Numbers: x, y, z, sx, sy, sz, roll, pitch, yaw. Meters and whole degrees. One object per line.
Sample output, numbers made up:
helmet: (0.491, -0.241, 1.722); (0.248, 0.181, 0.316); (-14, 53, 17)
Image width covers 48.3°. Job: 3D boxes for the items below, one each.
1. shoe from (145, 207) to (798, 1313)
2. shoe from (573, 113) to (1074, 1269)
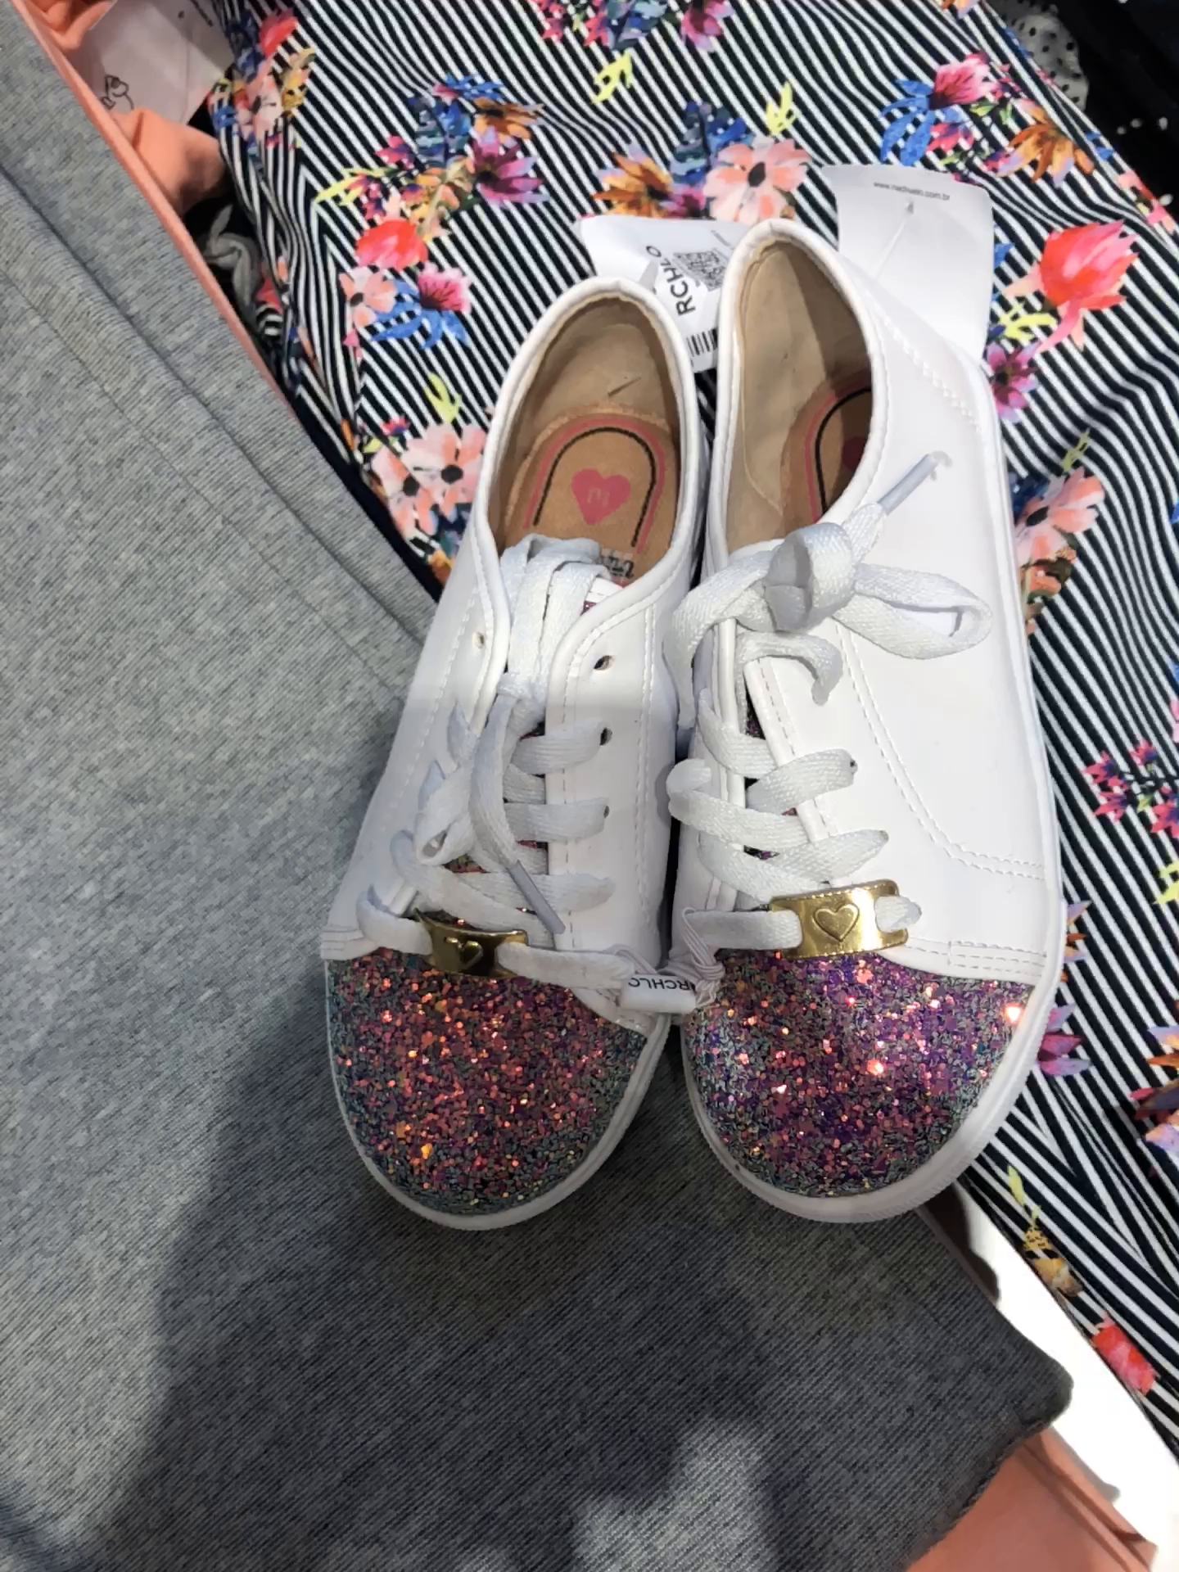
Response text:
shoe: (-0.014, -0.008, 0.267); (0.080, 0.070, 0.190); (9, 80, 11)
shoe: (0.052, -0.018, 0.264); (0.080, 0.070, 0.200); (0, 78, 17)
